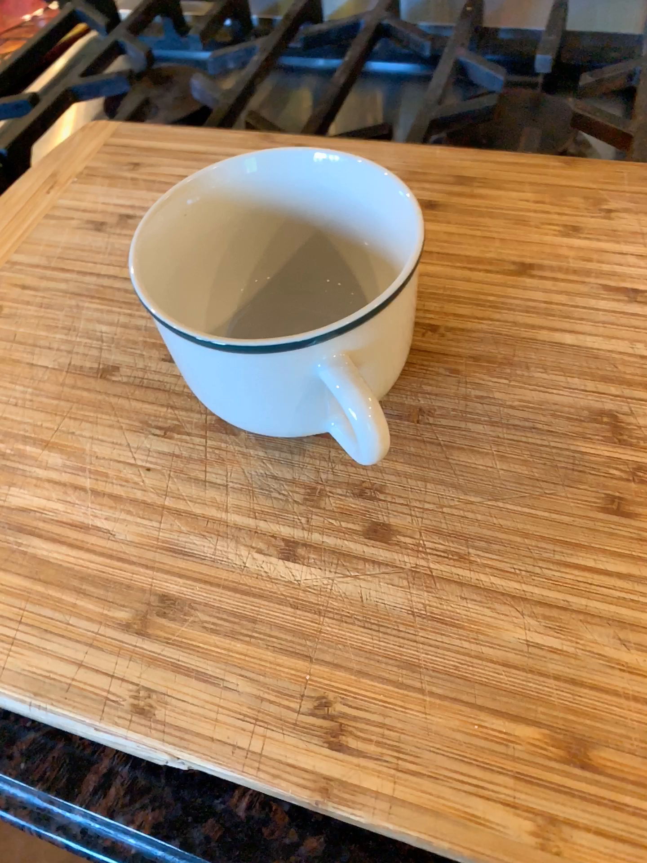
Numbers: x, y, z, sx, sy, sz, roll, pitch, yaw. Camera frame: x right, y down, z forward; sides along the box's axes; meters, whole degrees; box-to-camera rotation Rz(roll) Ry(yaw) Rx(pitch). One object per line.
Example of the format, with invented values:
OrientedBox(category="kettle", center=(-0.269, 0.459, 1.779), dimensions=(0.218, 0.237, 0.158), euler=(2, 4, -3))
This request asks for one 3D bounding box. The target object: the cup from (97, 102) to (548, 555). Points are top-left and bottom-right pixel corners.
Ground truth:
OrientedBox(category="cup", center=(-0.006, -0.041, 0.225), dimensions=(0.090, 0.060, 0.120), euler=(-26, 55, -11))
